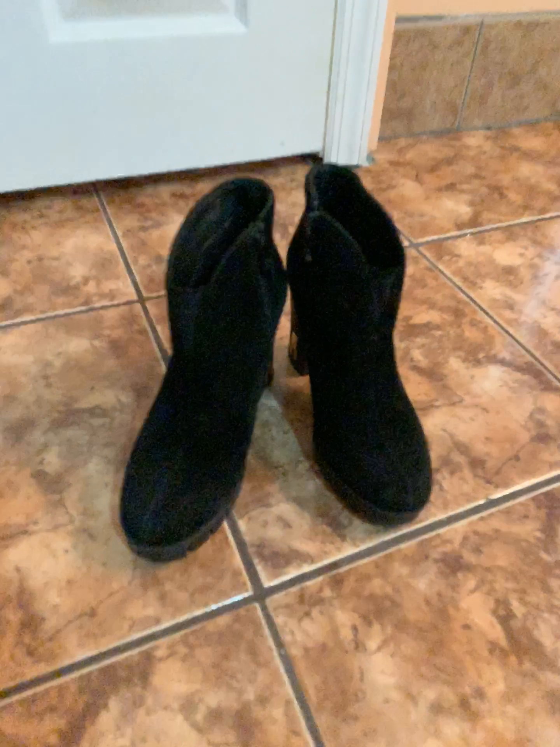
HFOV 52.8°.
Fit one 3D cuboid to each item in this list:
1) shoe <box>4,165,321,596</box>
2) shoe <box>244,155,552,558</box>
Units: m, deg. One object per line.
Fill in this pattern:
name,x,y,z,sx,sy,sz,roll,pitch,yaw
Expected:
shoe,-0.052,-0.006,0.395,0.094,0.180,0.230,13,44,11
shoe,0.054,-0.024,0.419,0.094,0.180,0.230,-13,45,-16
